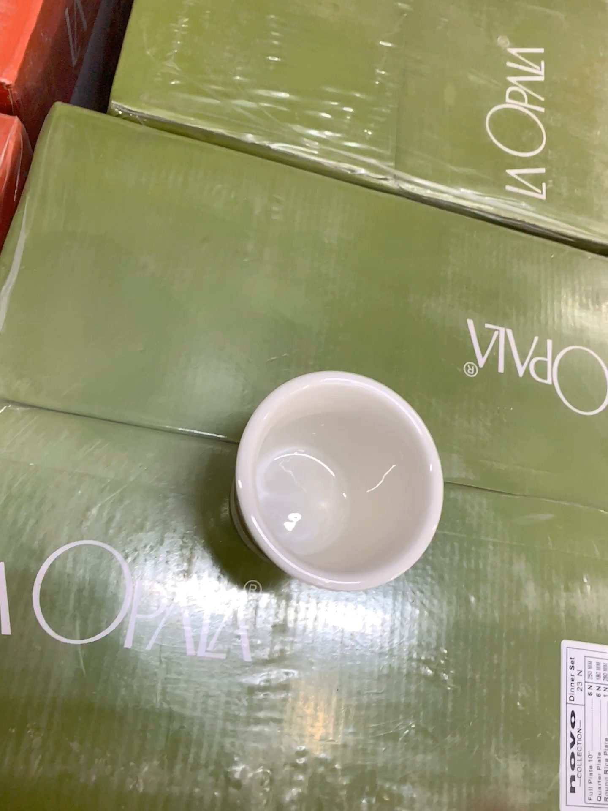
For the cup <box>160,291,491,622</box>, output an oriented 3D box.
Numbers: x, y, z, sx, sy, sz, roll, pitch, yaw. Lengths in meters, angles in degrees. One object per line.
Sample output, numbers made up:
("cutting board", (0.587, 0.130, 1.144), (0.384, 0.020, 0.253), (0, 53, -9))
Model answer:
("cup", (0.003, 0.020, 0.213), (0.070, 0.060, 0.070), (4, 72, -14))
